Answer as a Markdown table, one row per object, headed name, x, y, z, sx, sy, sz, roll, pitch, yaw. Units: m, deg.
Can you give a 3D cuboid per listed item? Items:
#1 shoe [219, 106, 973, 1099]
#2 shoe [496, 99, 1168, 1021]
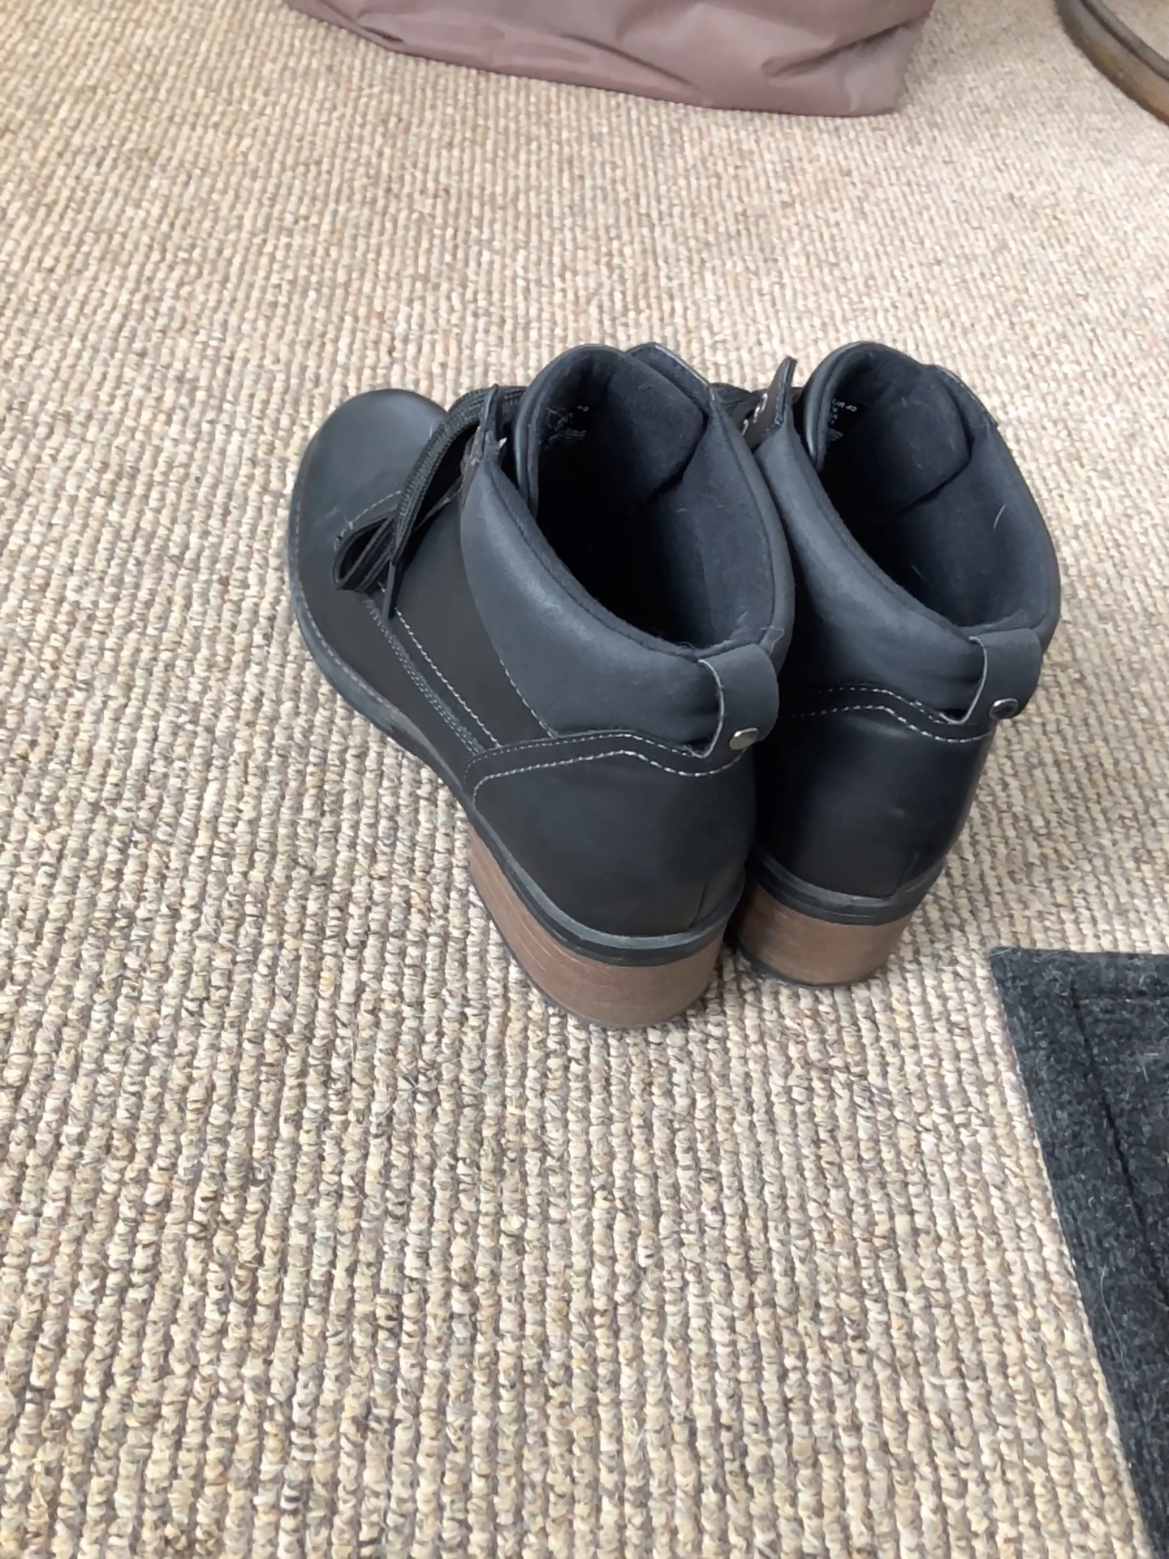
| name | x | y | z | sx | sy | sz | roll | pitch | yaw |
| --- | --- | --- | --- | --- | --- | --- | --- | --- | --- |
| shoe | -0.026 | -0.067 | 0.415 | 0.097 | 0.165 | 0.267 | -16 | 56 | -25 |
| shoe | 0.061 | -0.085 | 0.445 | 0.095 | 0.161 | 0.274 | -7 | 53 | -19 |
